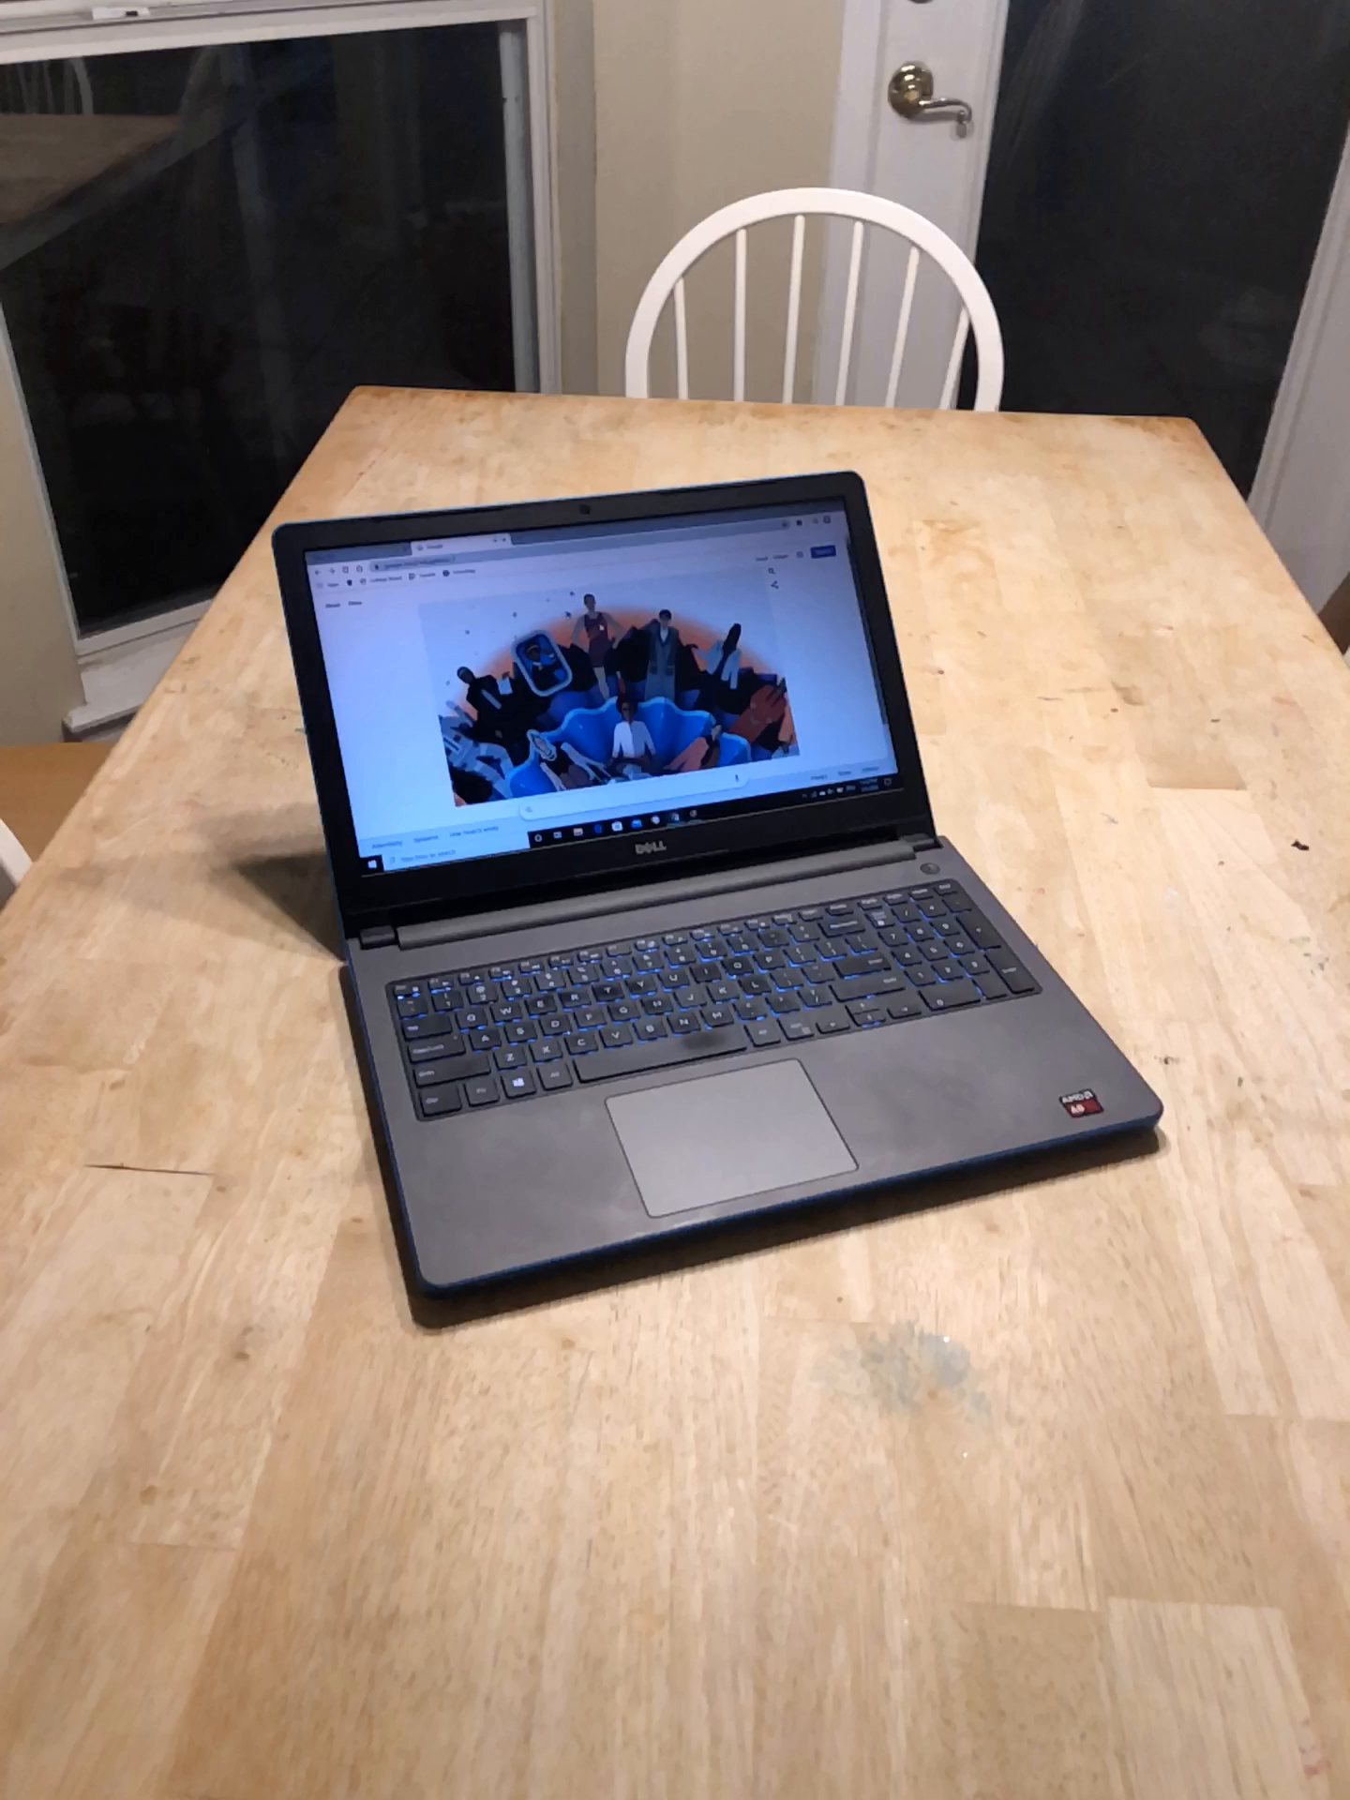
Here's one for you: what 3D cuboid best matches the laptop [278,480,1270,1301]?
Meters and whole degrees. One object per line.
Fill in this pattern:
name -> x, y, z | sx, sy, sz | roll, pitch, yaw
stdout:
laptop -> 0.010, -0.048, 0.791 | 0.367, 0.174, 0.421 | -10, 38, -15
